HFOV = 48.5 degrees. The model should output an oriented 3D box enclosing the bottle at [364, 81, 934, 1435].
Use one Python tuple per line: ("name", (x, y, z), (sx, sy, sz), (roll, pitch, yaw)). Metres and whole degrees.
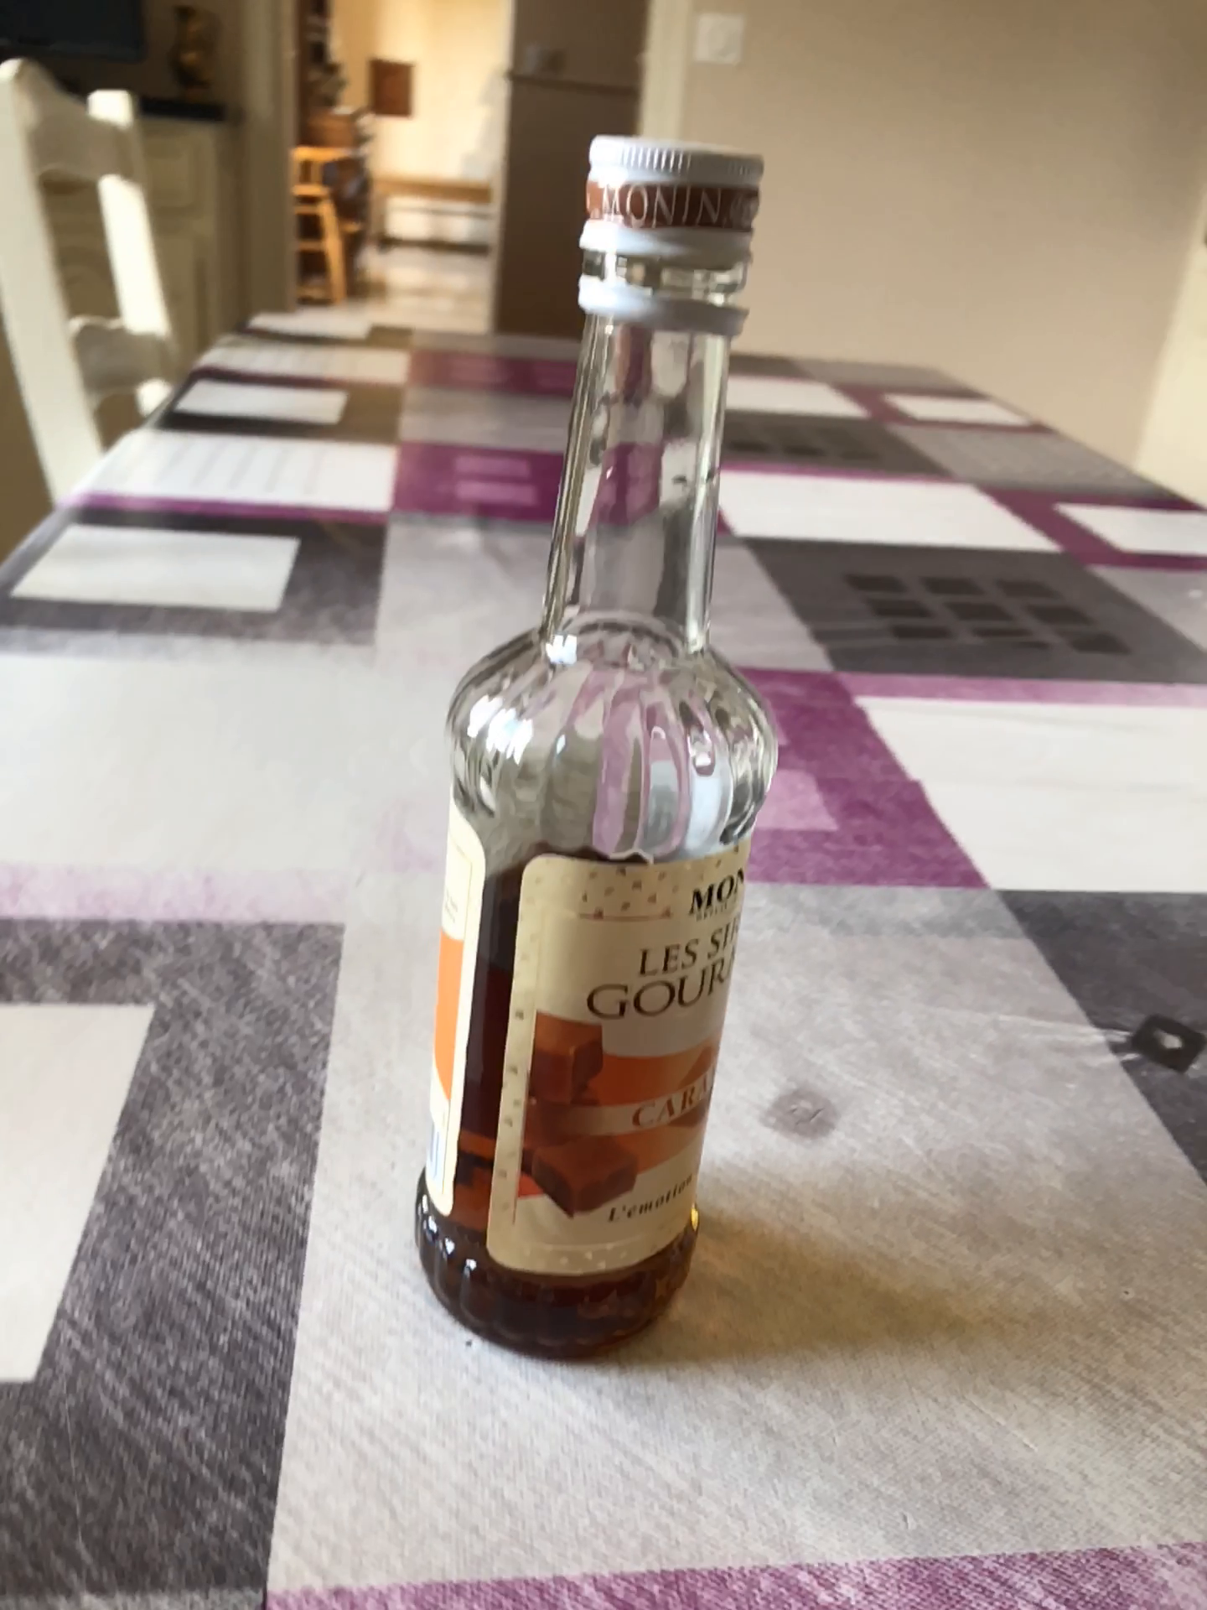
("bottle", (0.003, 0.000, 0.260), (0.070, 0.239, 0.070), (5, 26, -2))
